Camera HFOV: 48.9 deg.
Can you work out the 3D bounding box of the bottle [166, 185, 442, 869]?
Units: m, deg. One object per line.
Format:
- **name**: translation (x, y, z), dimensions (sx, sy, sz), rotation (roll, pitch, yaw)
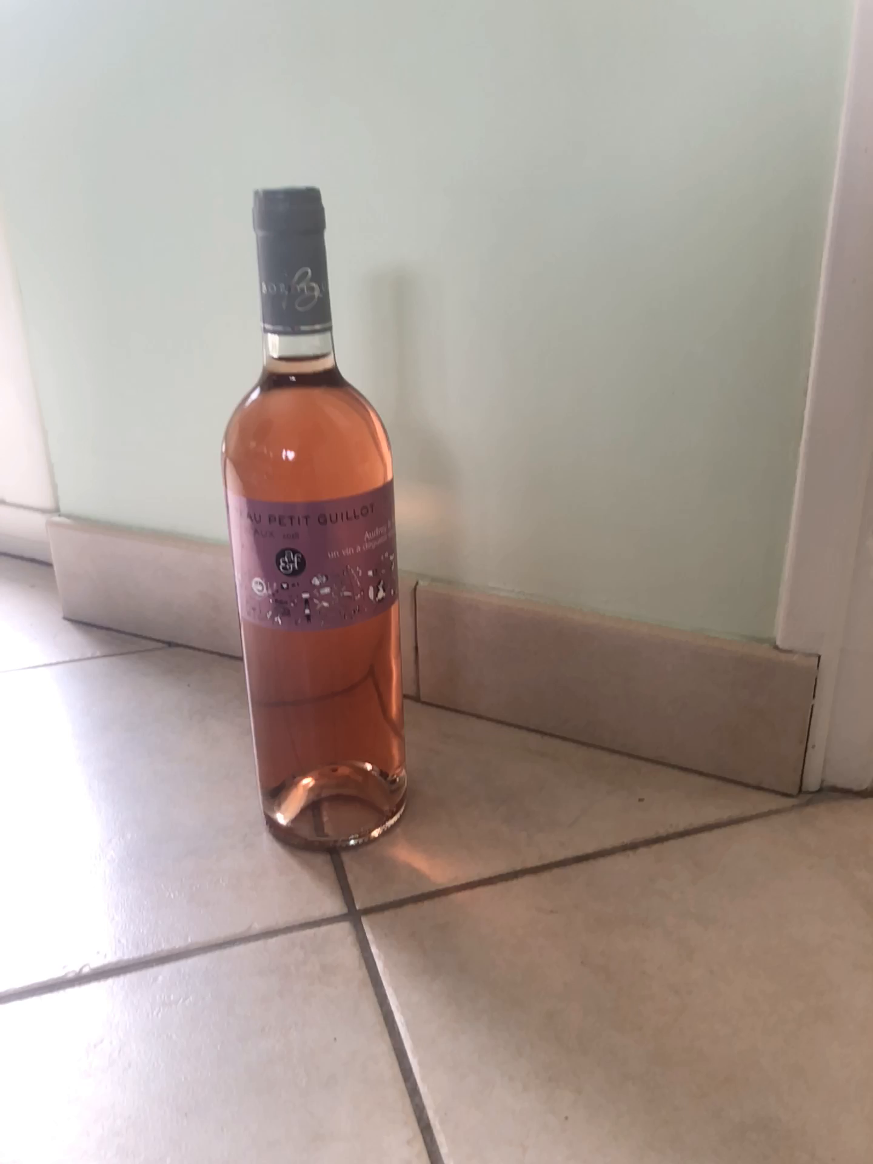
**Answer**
- **bottle**: translation (-0.057, -0.024, 0.438), dimensions (0.090, 0.288, 0.090), rotation (-1, 23, 0)
